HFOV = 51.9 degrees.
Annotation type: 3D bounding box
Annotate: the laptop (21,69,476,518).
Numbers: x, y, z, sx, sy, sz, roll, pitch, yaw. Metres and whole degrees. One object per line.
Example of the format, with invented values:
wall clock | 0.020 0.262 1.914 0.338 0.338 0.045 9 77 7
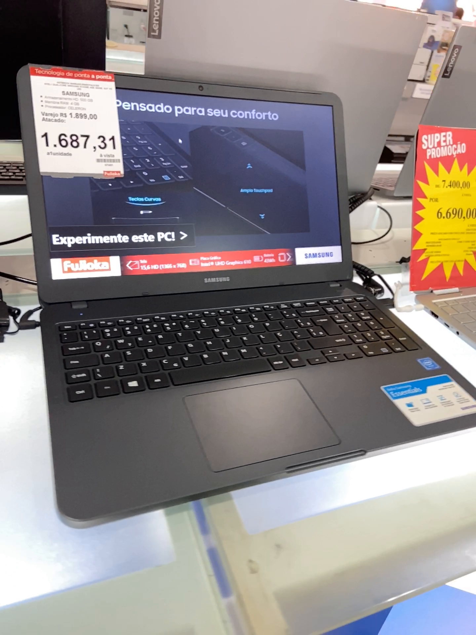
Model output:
laptop | 0.010 -0.078 0.457 0.366 0.196 0.371 -6 35 -22
